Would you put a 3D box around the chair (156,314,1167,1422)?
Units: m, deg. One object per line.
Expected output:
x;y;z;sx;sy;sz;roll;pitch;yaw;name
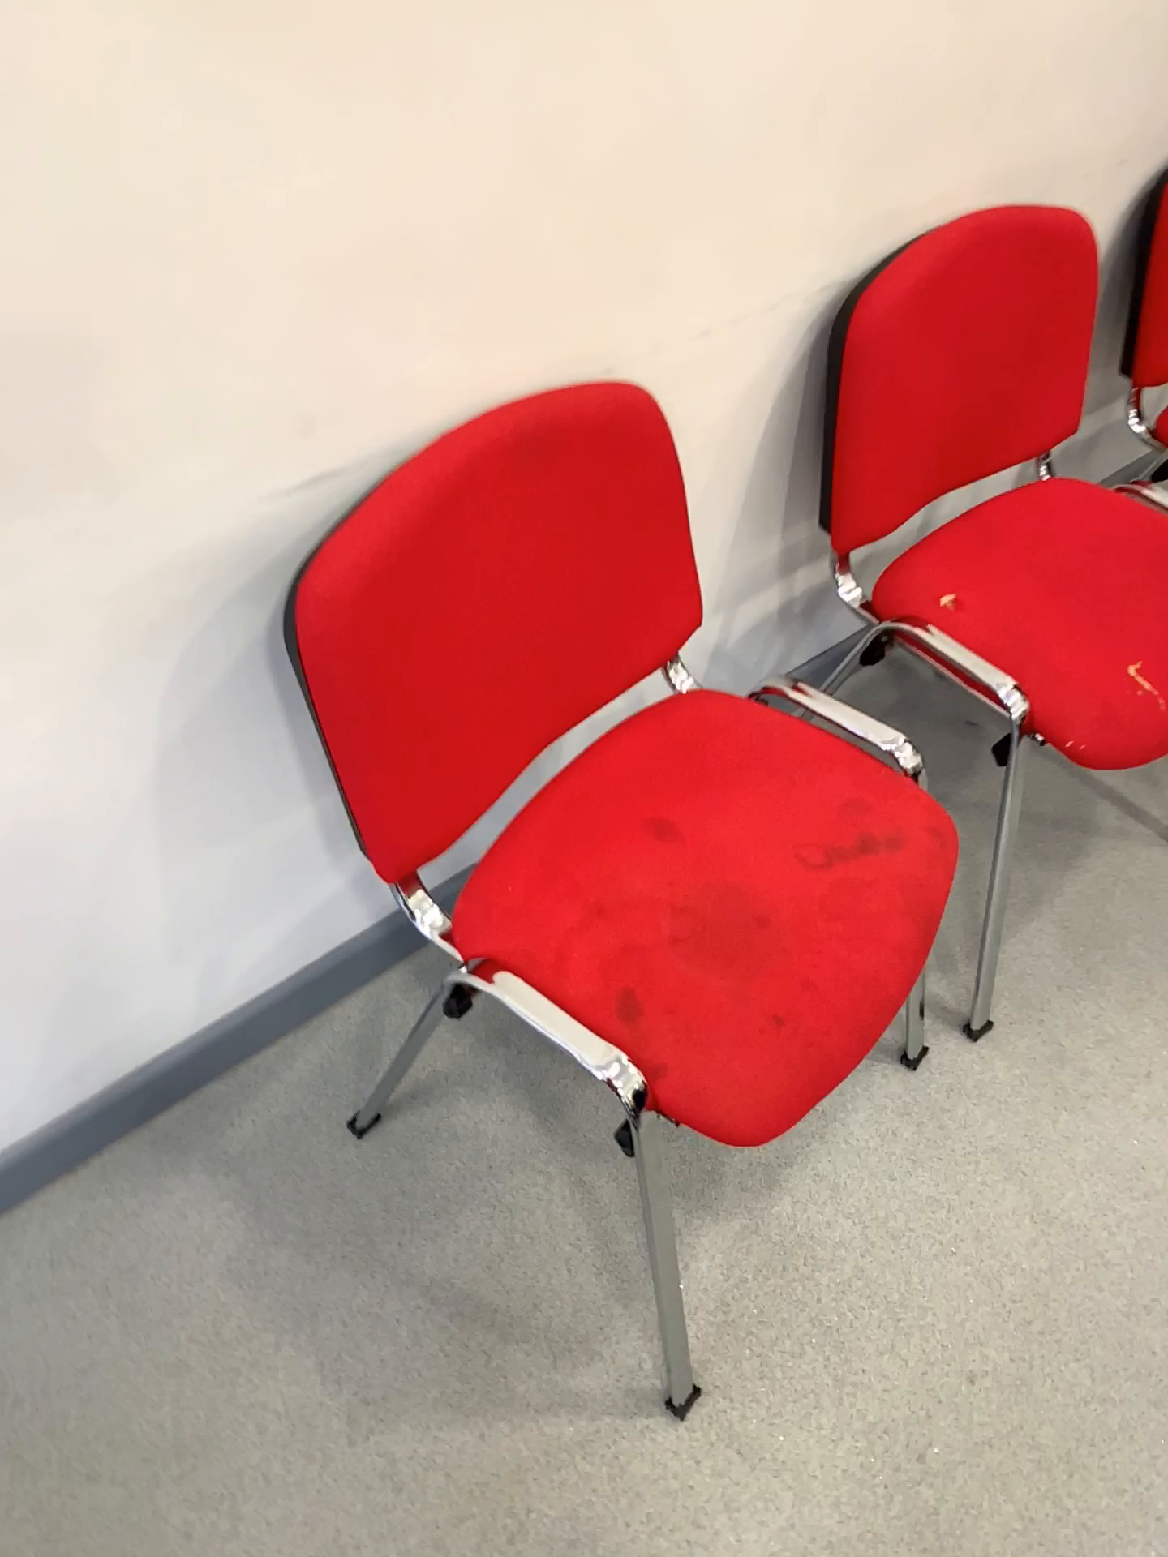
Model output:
0.075;0.091;1.225;0.630;0.753;0.601;33;53;22;chair

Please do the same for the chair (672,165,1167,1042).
0.573;-0.220;1.531;0.570;0.792;0.591;-30;58;-28;chair
